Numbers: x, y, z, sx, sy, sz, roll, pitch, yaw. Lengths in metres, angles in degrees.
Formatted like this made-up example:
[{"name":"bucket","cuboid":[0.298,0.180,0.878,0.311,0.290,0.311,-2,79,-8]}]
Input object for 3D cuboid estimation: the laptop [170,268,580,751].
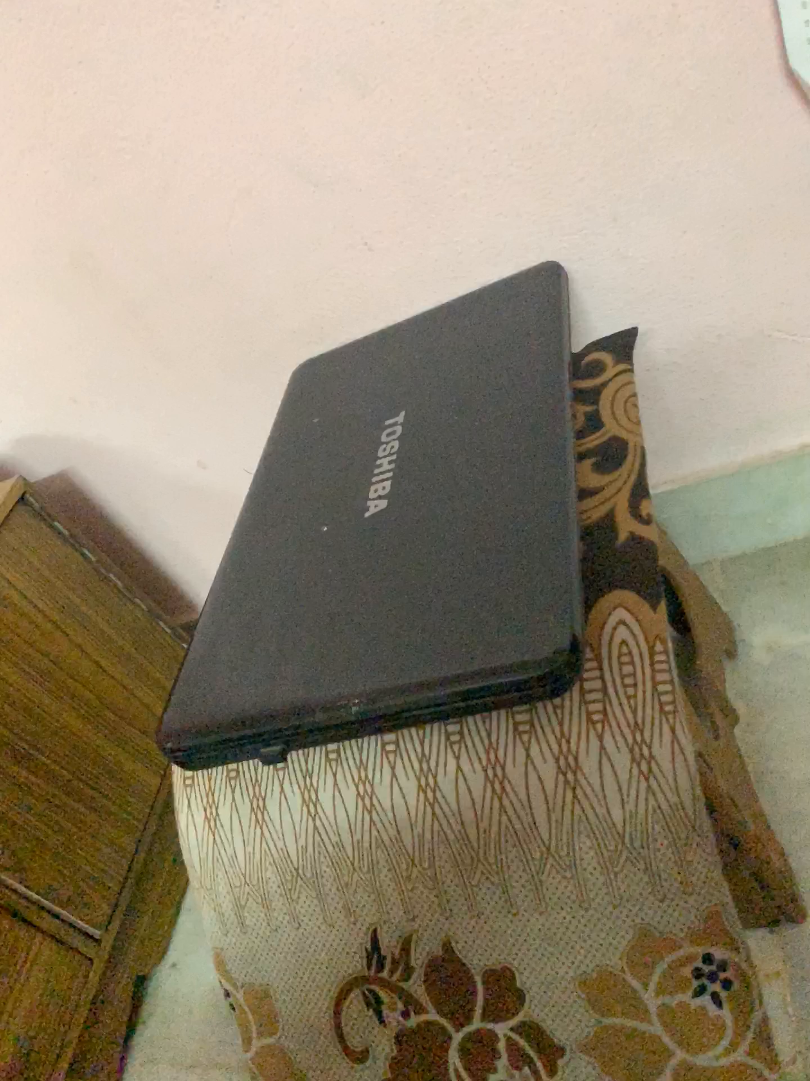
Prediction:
[{"name":"laptop","cuboid":[-0.005,-0.045,0.519,0.223,0.001,0.371,-17,38,24]}]
